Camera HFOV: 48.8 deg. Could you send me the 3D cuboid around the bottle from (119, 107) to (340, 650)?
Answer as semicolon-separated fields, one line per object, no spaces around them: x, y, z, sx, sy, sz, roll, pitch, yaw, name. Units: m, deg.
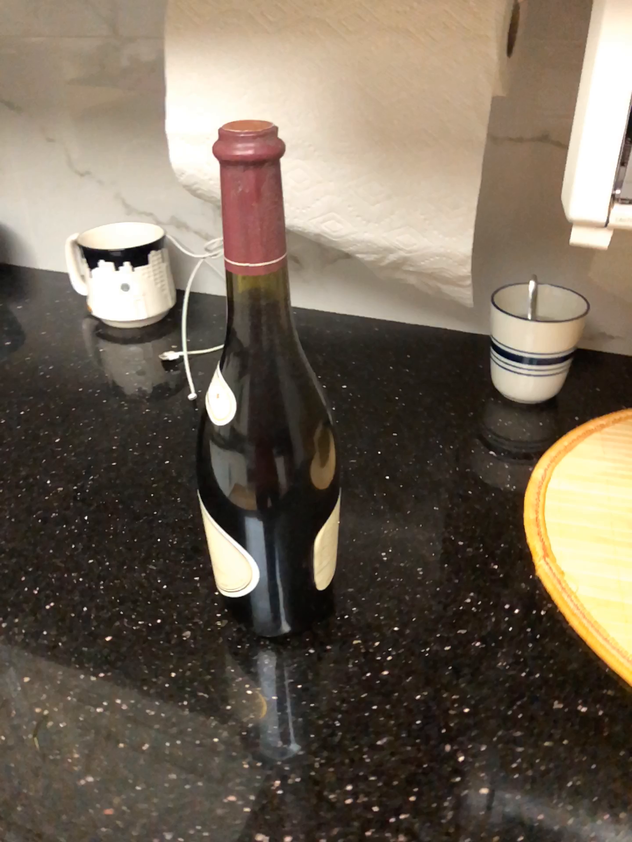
-0.033;-0.007;0.405;0.090;0.308;0.091;-1;33;1;bottle
